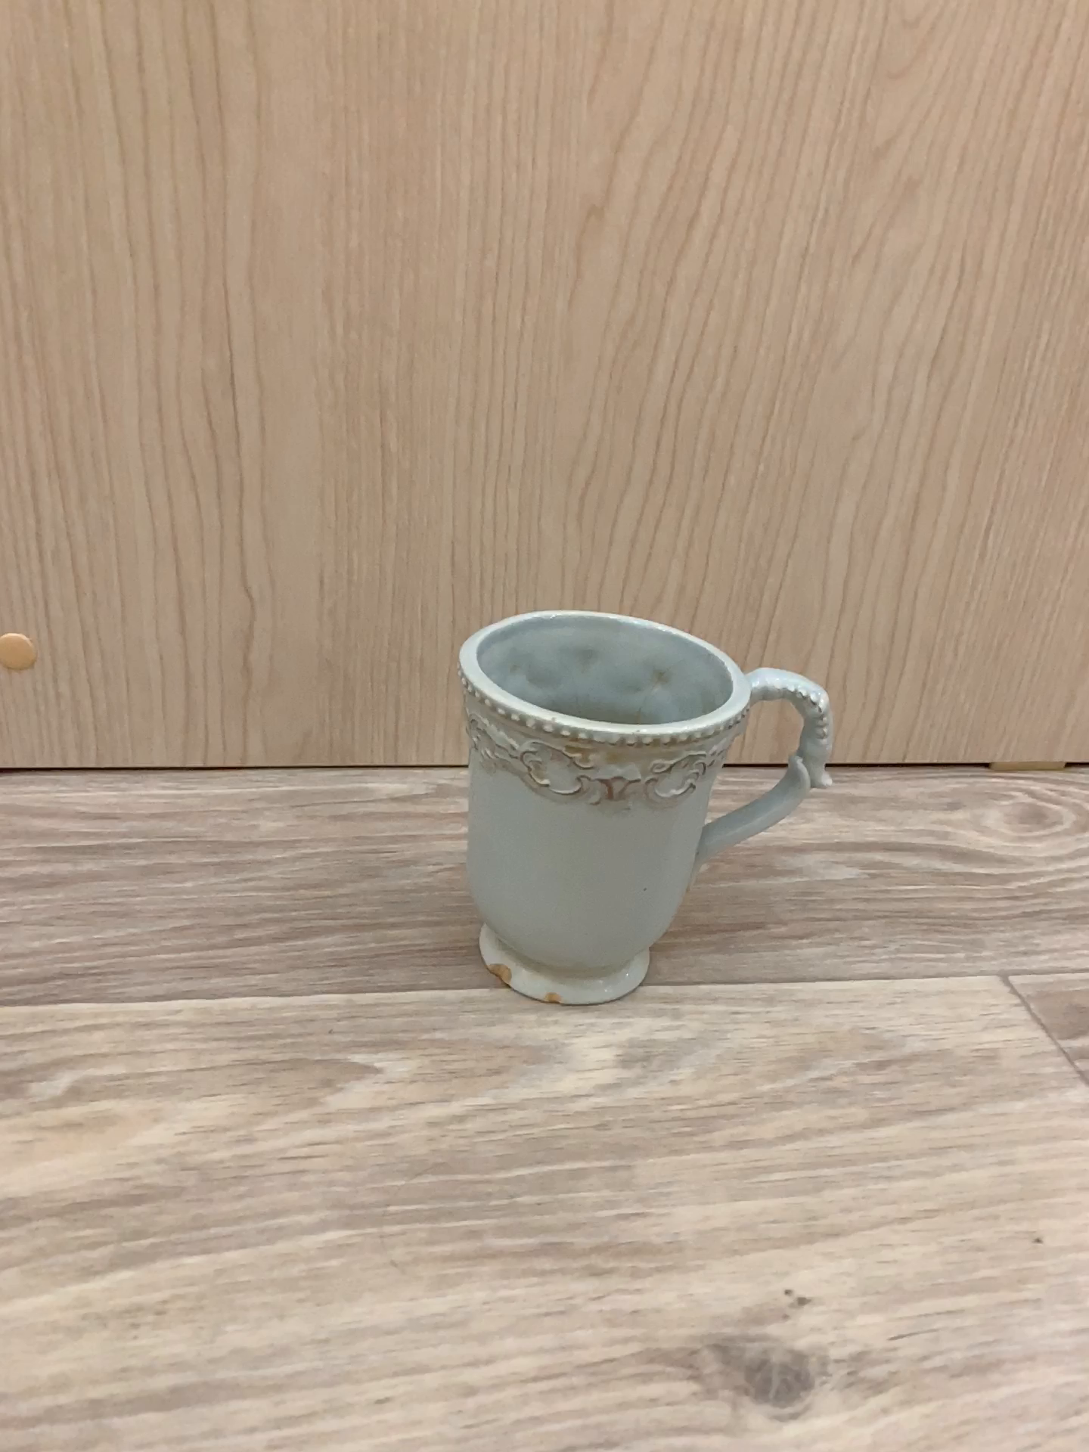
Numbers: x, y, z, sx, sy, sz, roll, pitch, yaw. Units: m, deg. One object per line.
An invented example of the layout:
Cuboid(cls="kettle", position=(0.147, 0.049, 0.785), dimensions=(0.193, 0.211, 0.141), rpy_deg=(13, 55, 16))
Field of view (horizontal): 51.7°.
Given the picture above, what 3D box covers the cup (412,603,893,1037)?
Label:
Cuboid(cls="cup", position=(0.026, 0.024, 0.357), dimensions=(0.118, 0.102, 0.083), rpy_deg=(-2, 27, -17))
